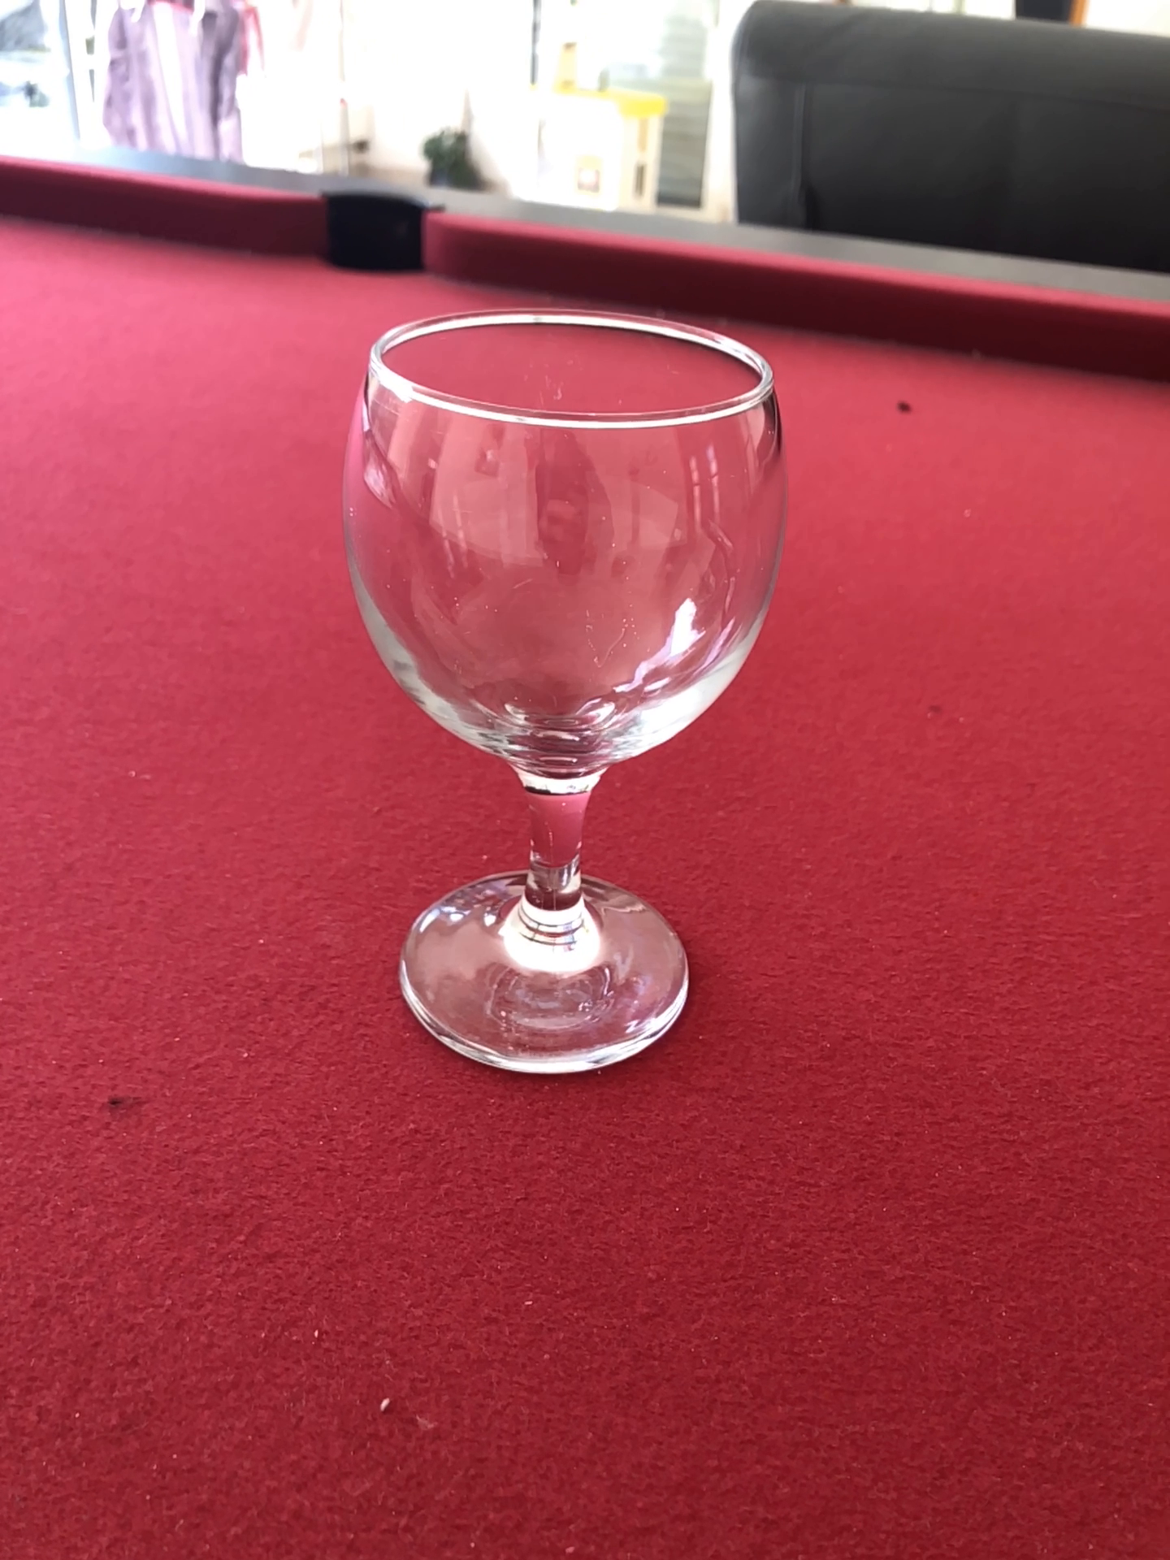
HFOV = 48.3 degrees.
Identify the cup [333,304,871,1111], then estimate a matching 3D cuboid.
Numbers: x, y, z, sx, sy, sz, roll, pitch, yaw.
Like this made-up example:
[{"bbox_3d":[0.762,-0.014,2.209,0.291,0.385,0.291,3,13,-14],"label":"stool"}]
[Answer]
[{"bbox_3d":[-0.004,-0.015,0.250,0.070,0.129,0.070,3,32,-2],"label":"cup"}]
